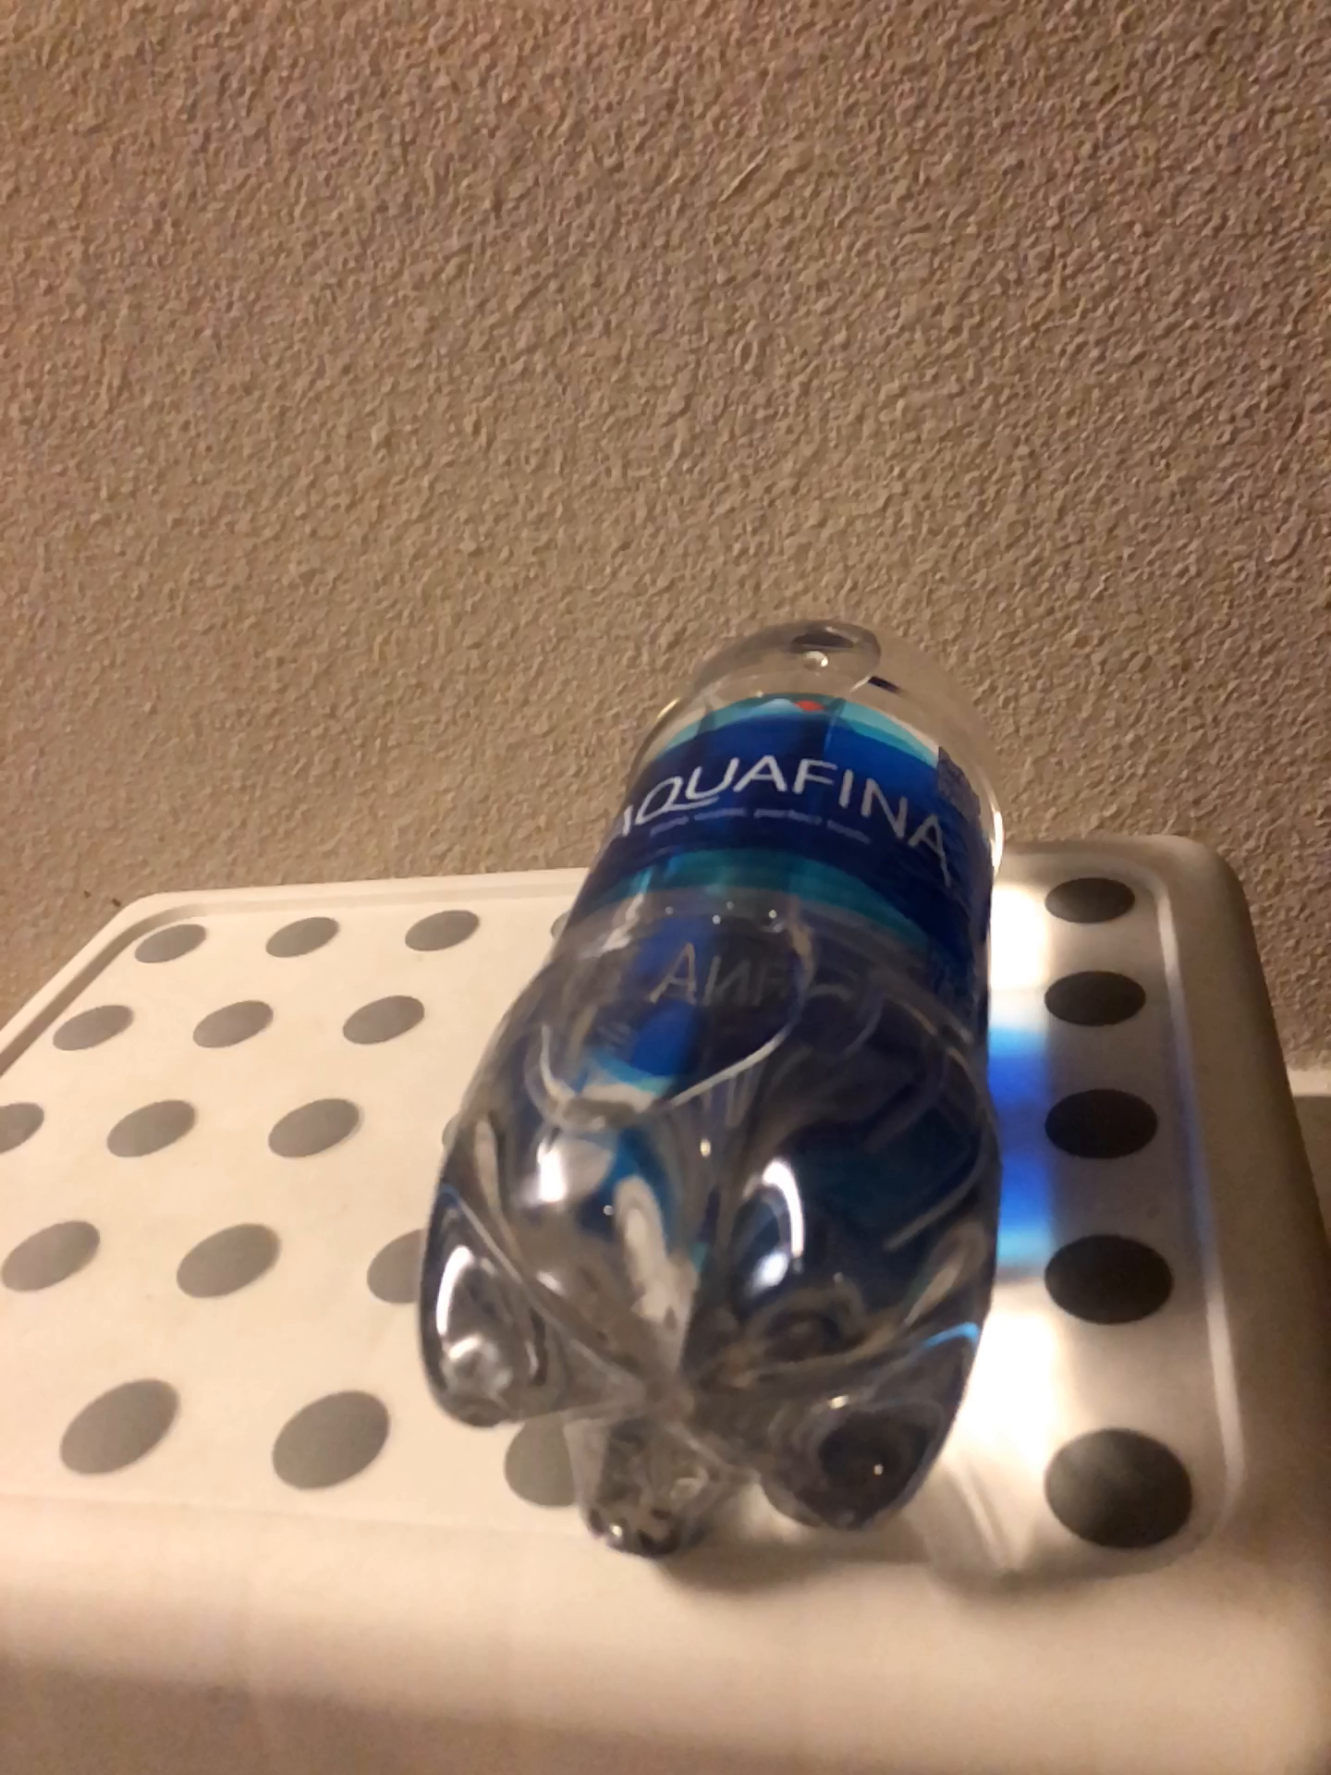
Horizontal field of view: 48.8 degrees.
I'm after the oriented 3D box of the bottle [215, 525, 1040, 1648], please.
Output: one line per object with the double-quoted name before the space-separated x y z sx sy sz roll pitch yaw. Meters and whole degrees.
"bottle" 0.023 0.007 0.295 0.090 0.080 0.251 -3 28 17
